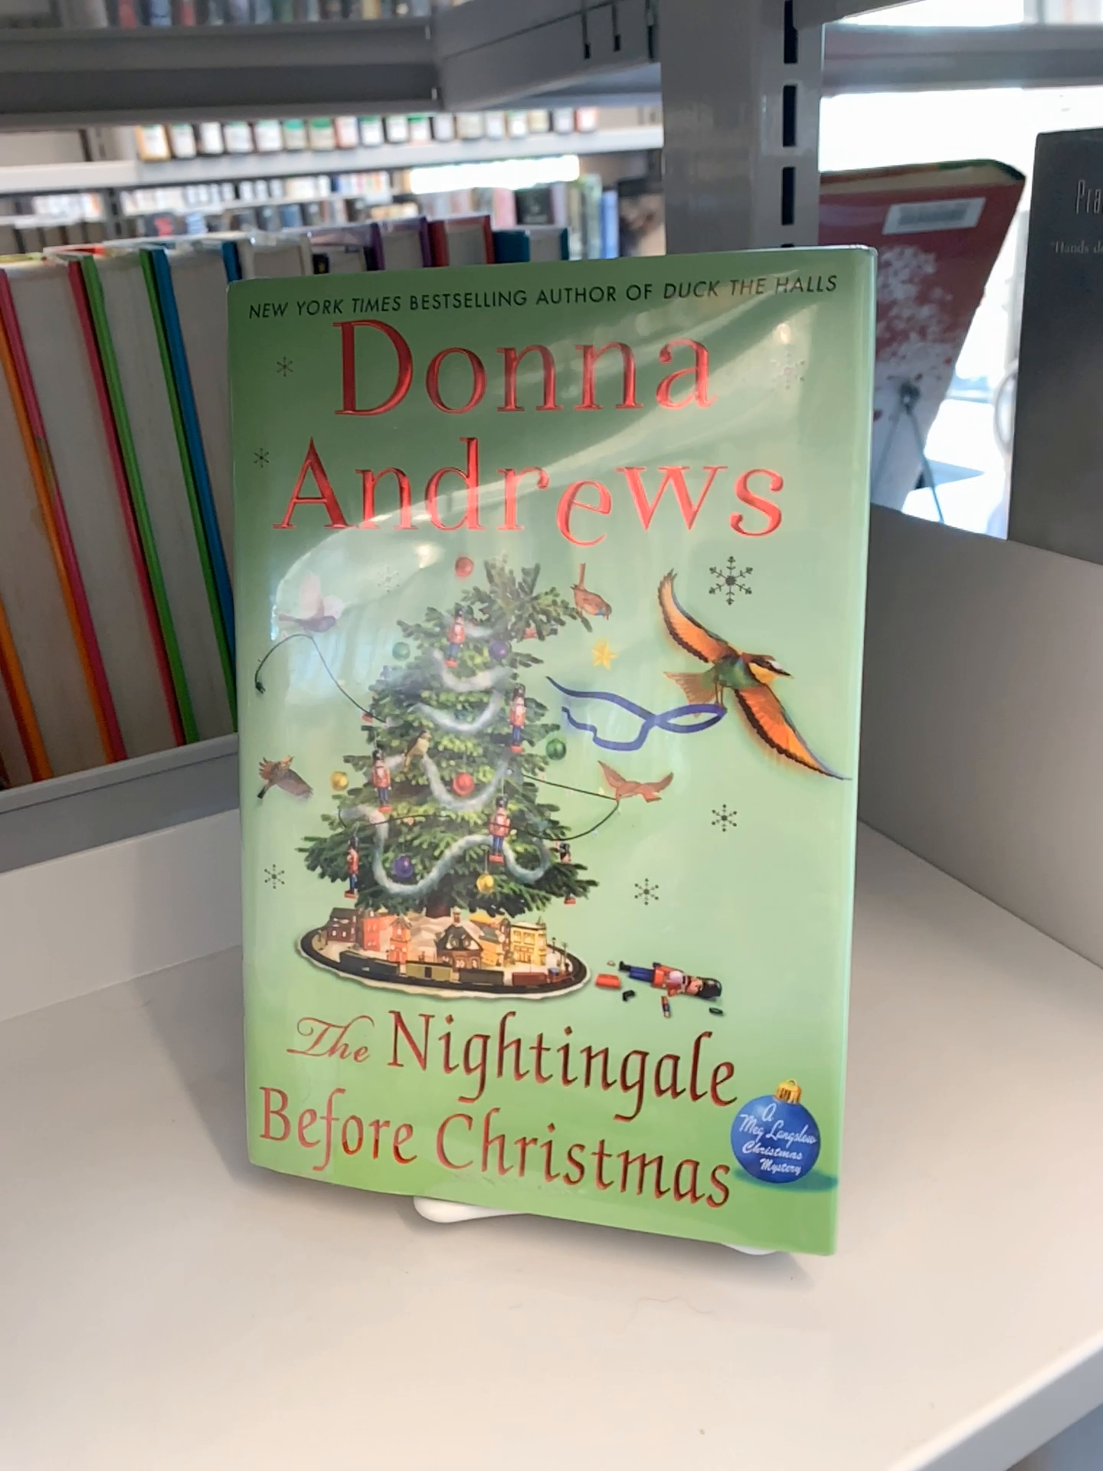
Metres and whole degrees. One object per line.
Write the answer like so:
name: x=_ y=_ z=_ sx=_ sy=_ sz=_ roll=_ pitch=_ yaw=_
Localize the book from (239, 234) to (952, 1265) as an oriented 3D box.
book: x=0.006 y=0.002 z=0.257 sx=0.145 sy=0.200 sz=0.040 roll=3 pitch=7 yaw=15
